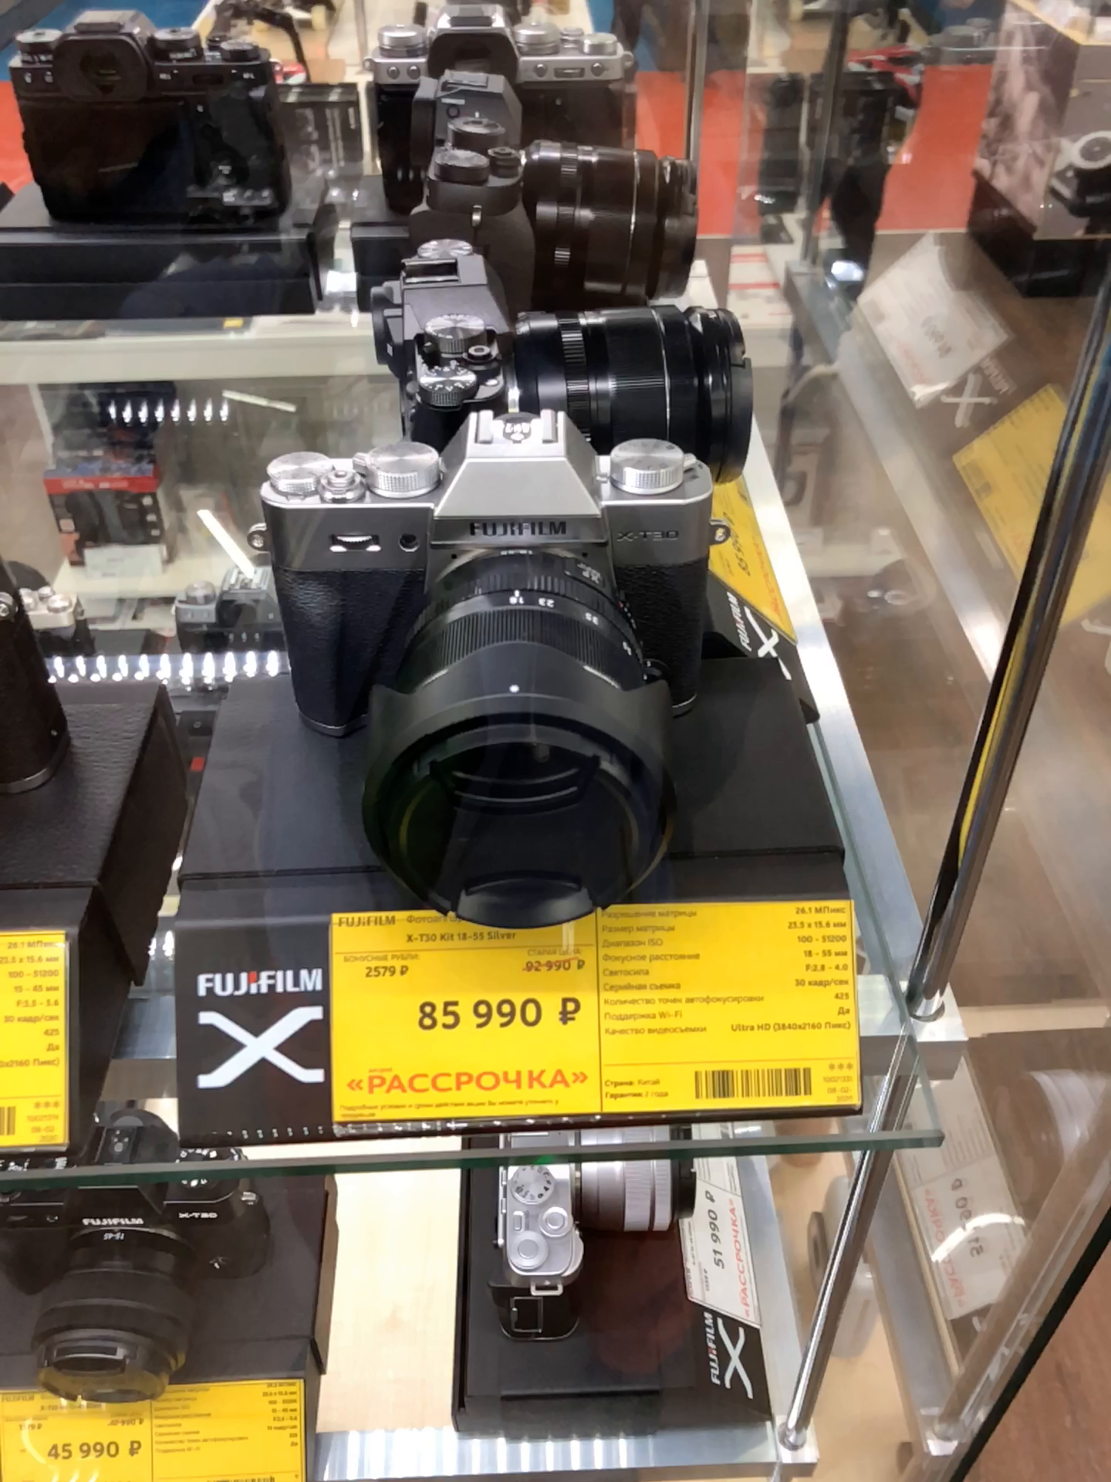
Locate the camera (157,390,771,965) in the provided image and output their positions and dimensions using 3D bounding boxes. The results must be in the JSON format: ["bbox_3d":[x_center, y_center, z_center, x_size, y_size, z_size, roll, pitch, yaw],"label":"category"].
[{"bbox_3d":[-0.020,-0.021,0.315,0.120,0.088,0.121,-2,41,-2],"label":"camera"}]

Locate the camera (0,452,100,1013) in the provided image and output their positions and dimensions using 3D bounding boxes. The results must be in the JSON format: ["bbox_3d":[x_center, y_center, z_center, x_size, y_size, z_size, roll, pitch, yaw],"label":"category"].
[{"bbox_3d":[-0.204,-0.005,0.302,0.135,0.088,0.104,-1,41,-1],"label":"camera"}]

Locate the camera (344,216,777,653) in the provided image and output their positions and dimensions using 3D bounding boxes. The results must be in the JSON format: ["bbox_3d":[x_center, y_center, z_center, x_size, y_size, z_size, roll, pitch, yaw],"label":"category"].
[{"bbox_3d":[-0.003,-0.112,0.430,0.123,0.088,0.145,-2,41,-3],"label":"camera"}]
